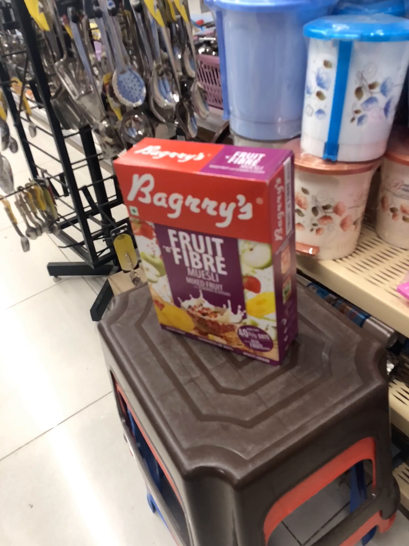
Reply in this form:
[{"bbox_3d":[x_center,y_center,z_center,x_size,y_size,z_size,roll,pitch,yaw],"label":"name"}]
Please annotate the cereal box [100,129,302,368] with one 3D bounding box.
[{"bbox_3d":[0.008,-0.027,0.536,0.201,0.259,0.070,14,44,29],"label":"cereal box"}]
